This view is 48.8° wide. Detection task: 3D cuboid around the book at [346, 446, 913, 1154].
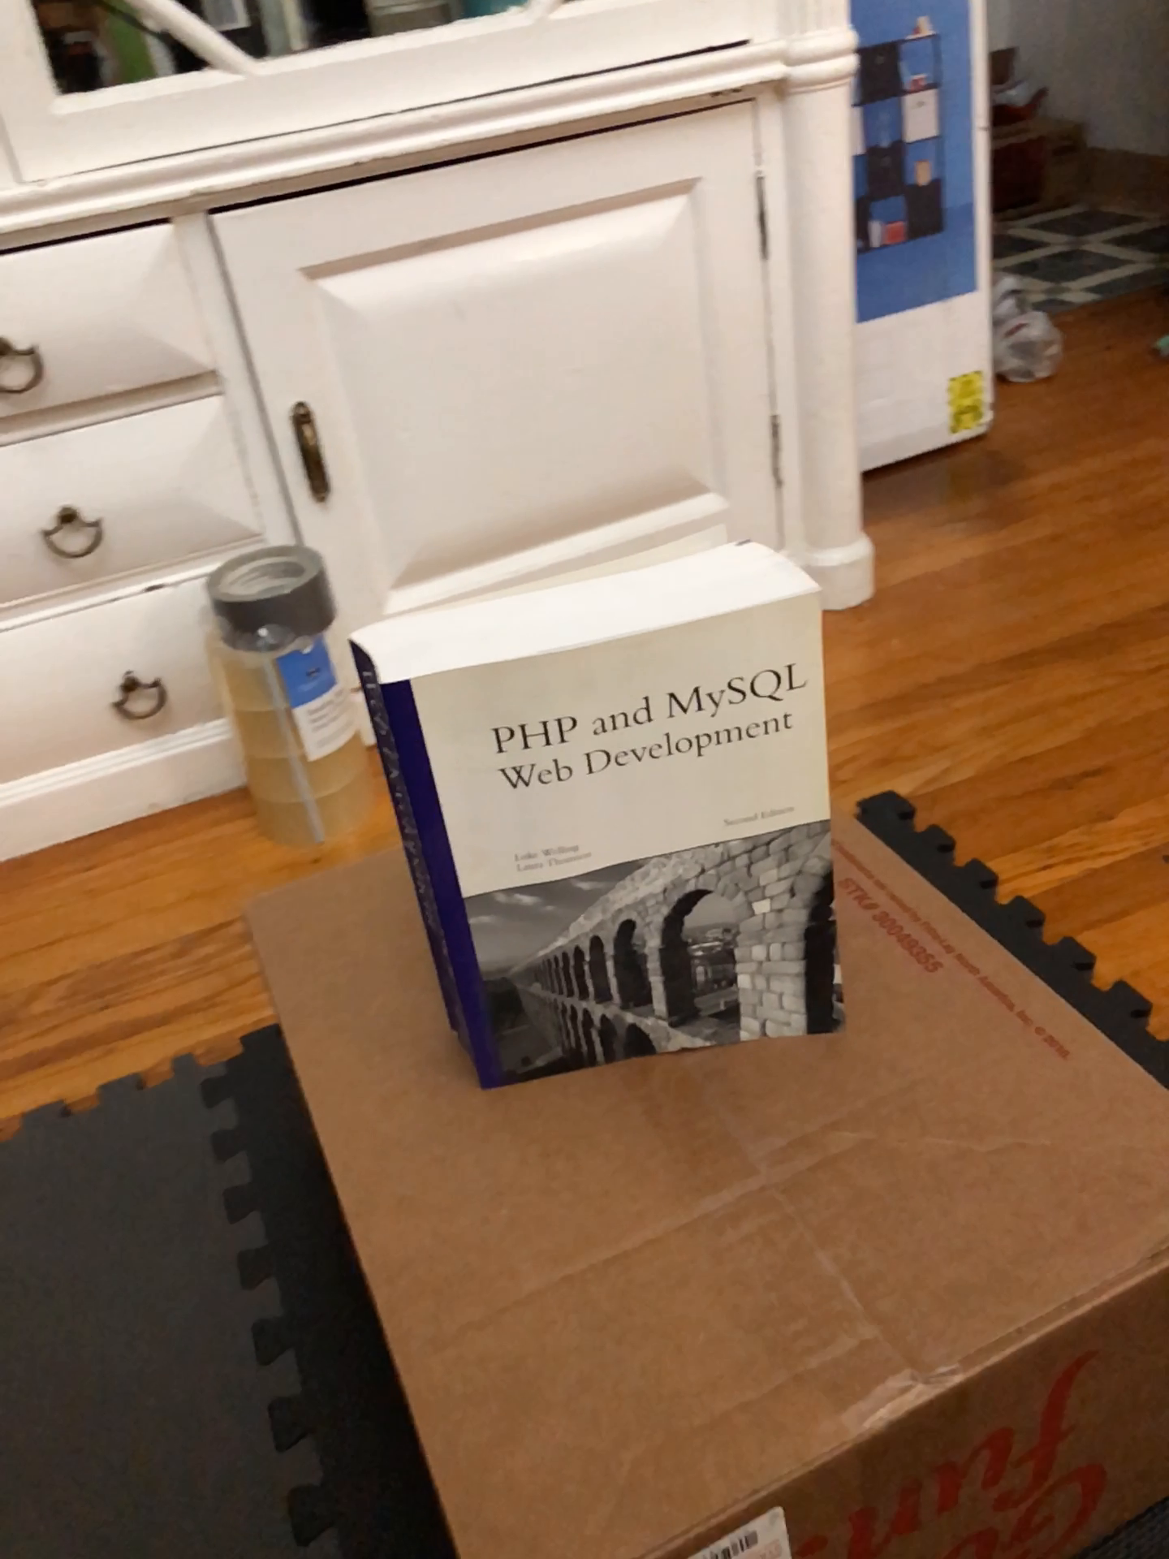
[{"bbox_3d":[0.030,0.014,0.568,0.200,0.258,0.090,-17,35,-11],"label":"book"}]
